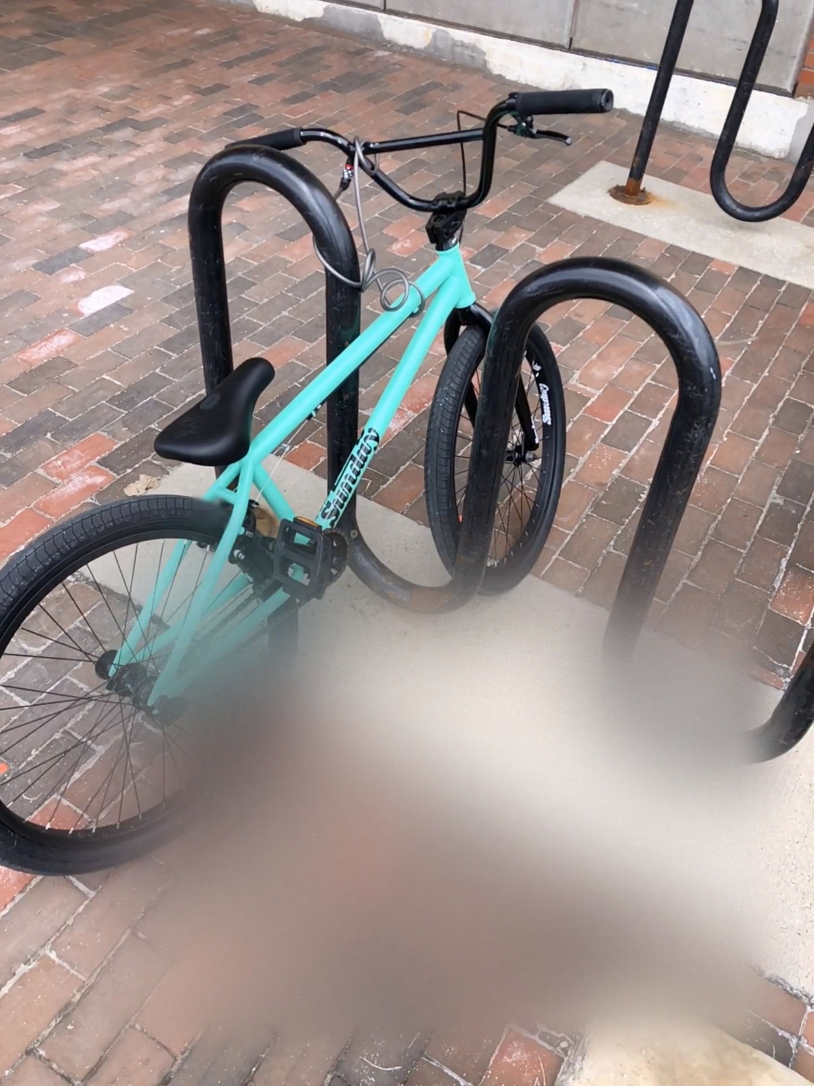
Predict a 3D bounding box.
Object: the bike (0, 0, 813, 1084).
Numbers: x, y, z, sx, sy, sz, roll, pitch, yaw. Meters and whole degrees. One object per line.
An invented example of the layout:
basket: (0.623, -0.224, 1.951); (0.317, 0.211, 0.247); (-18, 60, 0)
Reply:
bike: (-0.145, -0.207, 1.466); (0.811, 1.067, 1.469); (30, 50, 25)
